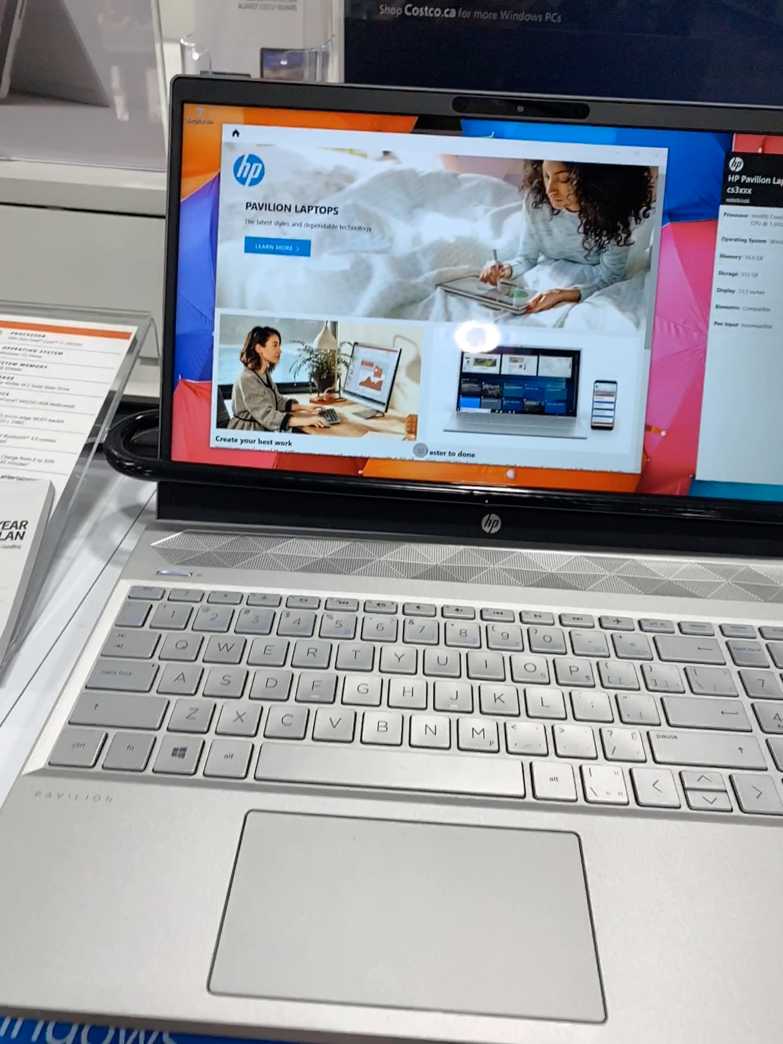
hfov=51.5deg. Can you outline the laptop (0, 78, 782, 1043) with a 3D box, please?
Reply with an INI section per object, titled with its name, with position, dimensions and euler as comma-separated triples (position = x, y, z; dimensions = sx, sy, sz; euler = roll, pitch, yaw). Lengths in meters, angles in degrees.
[laptop]
position = 0.052, -0.035, 0.301
dimensions = 0.332, 0.175, 0.335
euler = 3, 35, 1
